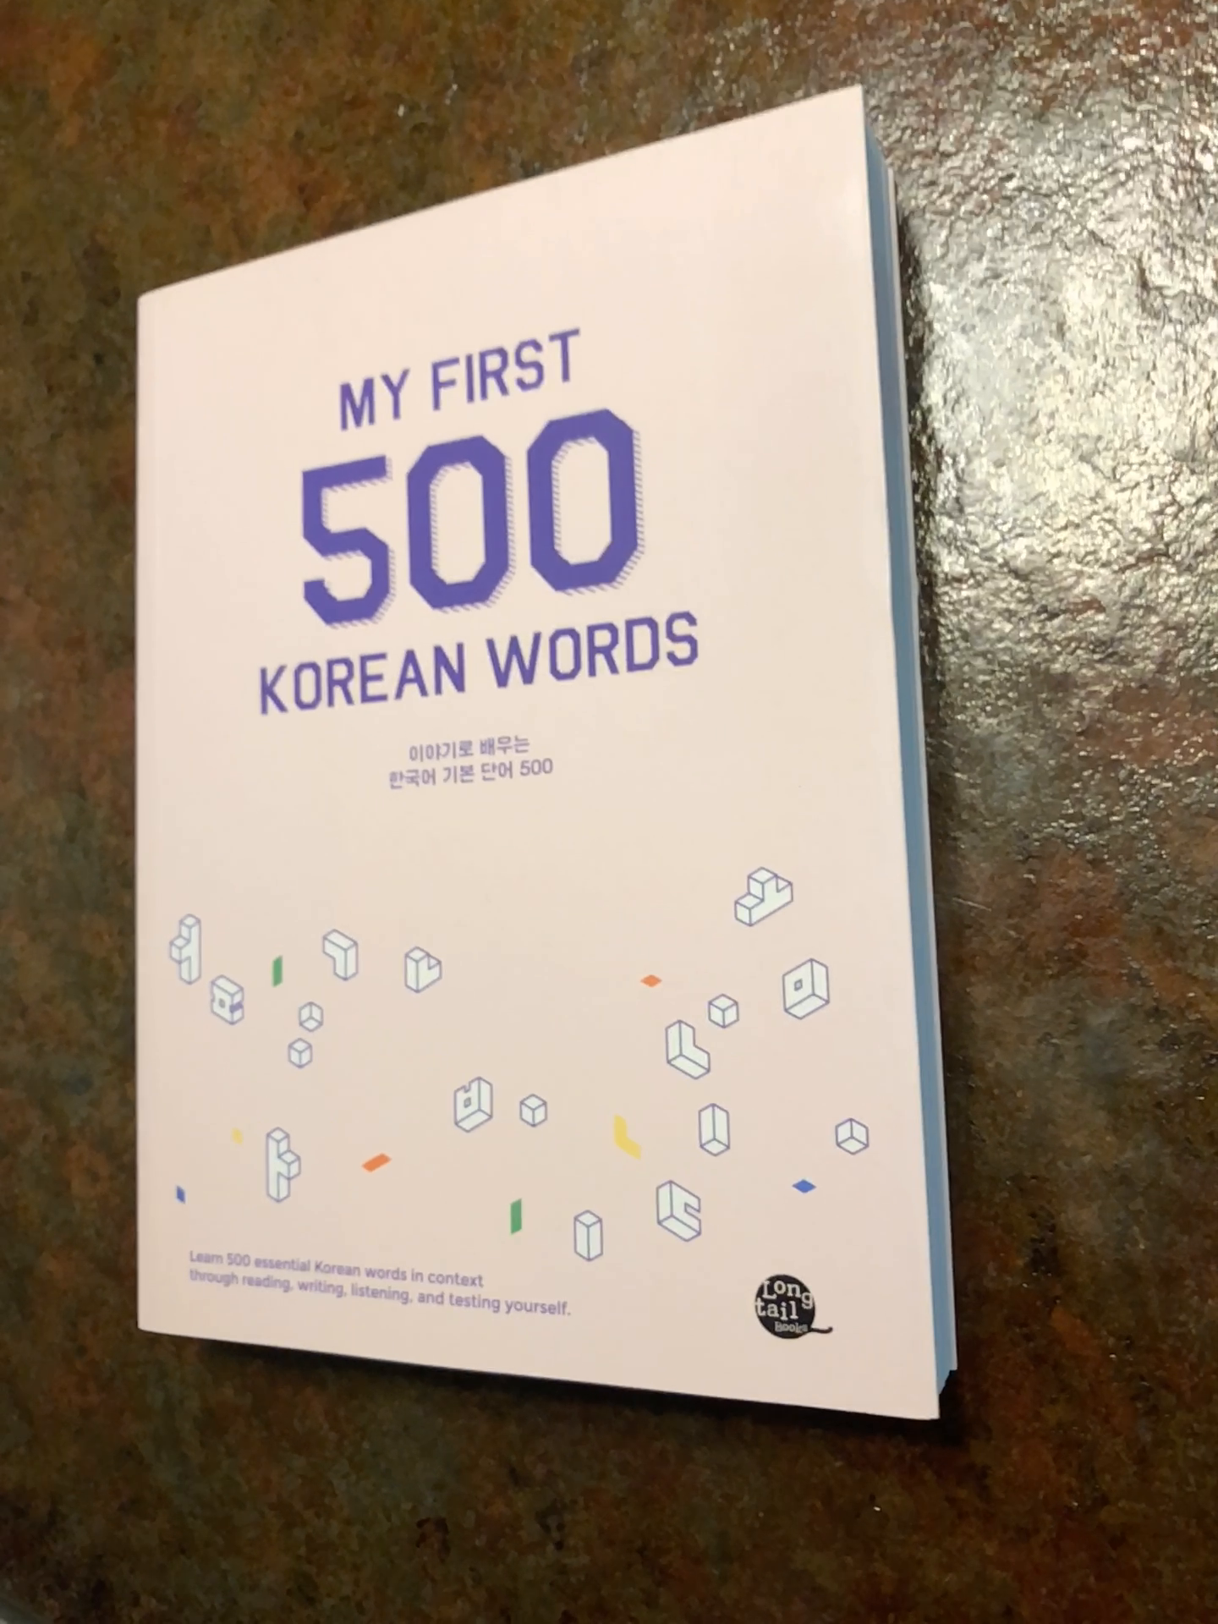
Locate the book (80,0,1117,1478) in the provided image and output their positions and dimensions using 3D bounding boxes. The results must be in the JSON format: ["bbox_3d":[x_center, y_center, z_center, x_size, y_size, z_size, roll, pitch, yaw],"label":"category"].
[{"bbox_3d":[-0.014,-0.013,0.254,0.190,0.030,0.230,-4,84,23],"label":"book"}]
